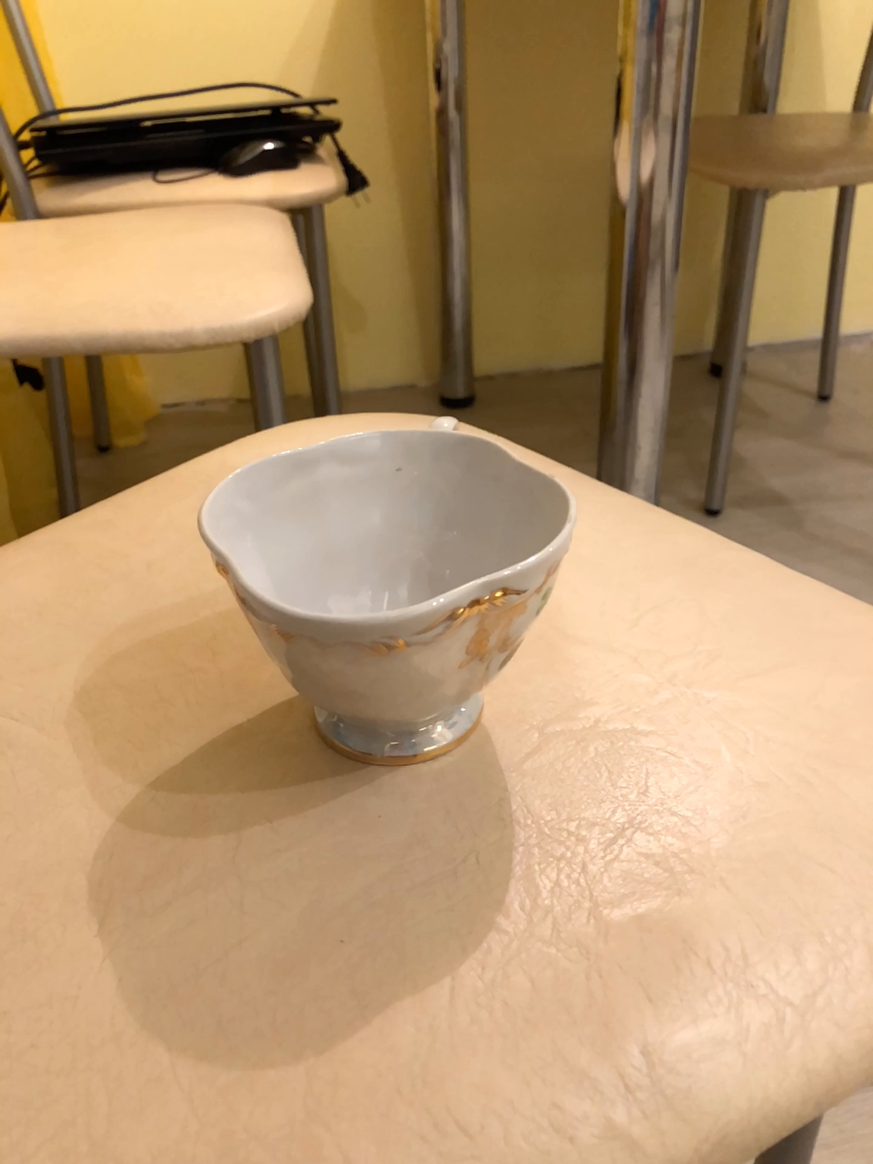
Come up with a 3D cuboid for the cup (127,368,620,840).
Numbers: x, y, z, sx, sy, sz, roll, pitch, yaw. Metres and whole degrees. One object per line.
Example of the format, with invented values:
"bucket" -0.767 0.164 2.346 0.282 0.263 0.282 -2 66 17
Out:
"cup" -0.005 -0.006 0.290 0.100 0.064 0.140 7 33 14
